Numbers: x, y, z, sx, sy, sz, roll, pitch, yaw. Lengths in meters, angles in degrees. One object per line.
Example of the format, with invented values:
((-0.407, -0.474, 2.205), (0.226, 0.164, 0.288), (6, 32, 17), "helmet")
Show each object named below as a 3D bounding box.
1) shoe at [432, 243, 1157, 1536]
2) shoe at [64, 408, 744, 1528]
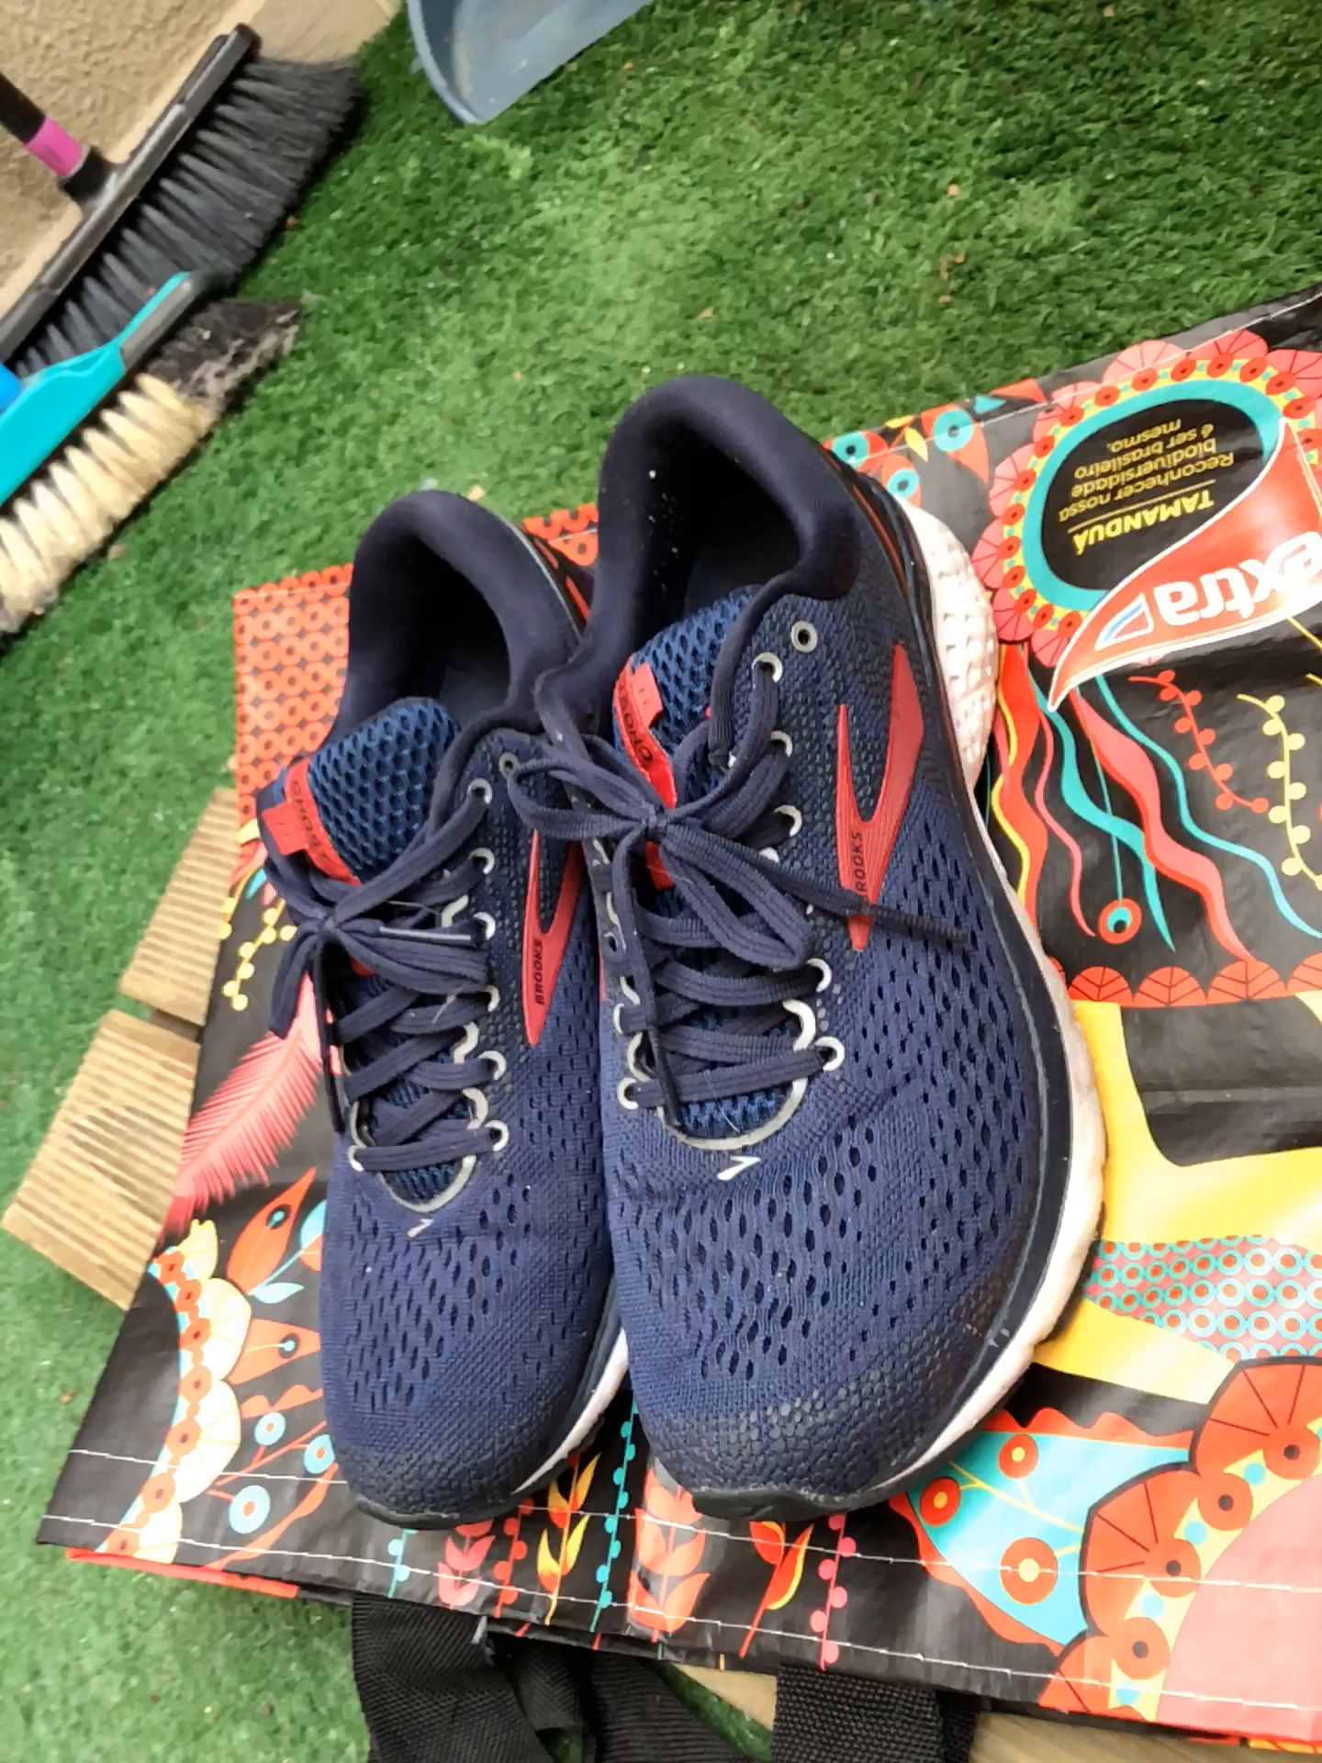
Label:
((0.032, 0.002, 0.338), (0.100, 0.099, 0.265), (-16, 57, 31), "shoe")
((-0.054, 0.024, 0.394), (0.108, 0.099, 0.265), (-15, 58, 32), "shoe")
